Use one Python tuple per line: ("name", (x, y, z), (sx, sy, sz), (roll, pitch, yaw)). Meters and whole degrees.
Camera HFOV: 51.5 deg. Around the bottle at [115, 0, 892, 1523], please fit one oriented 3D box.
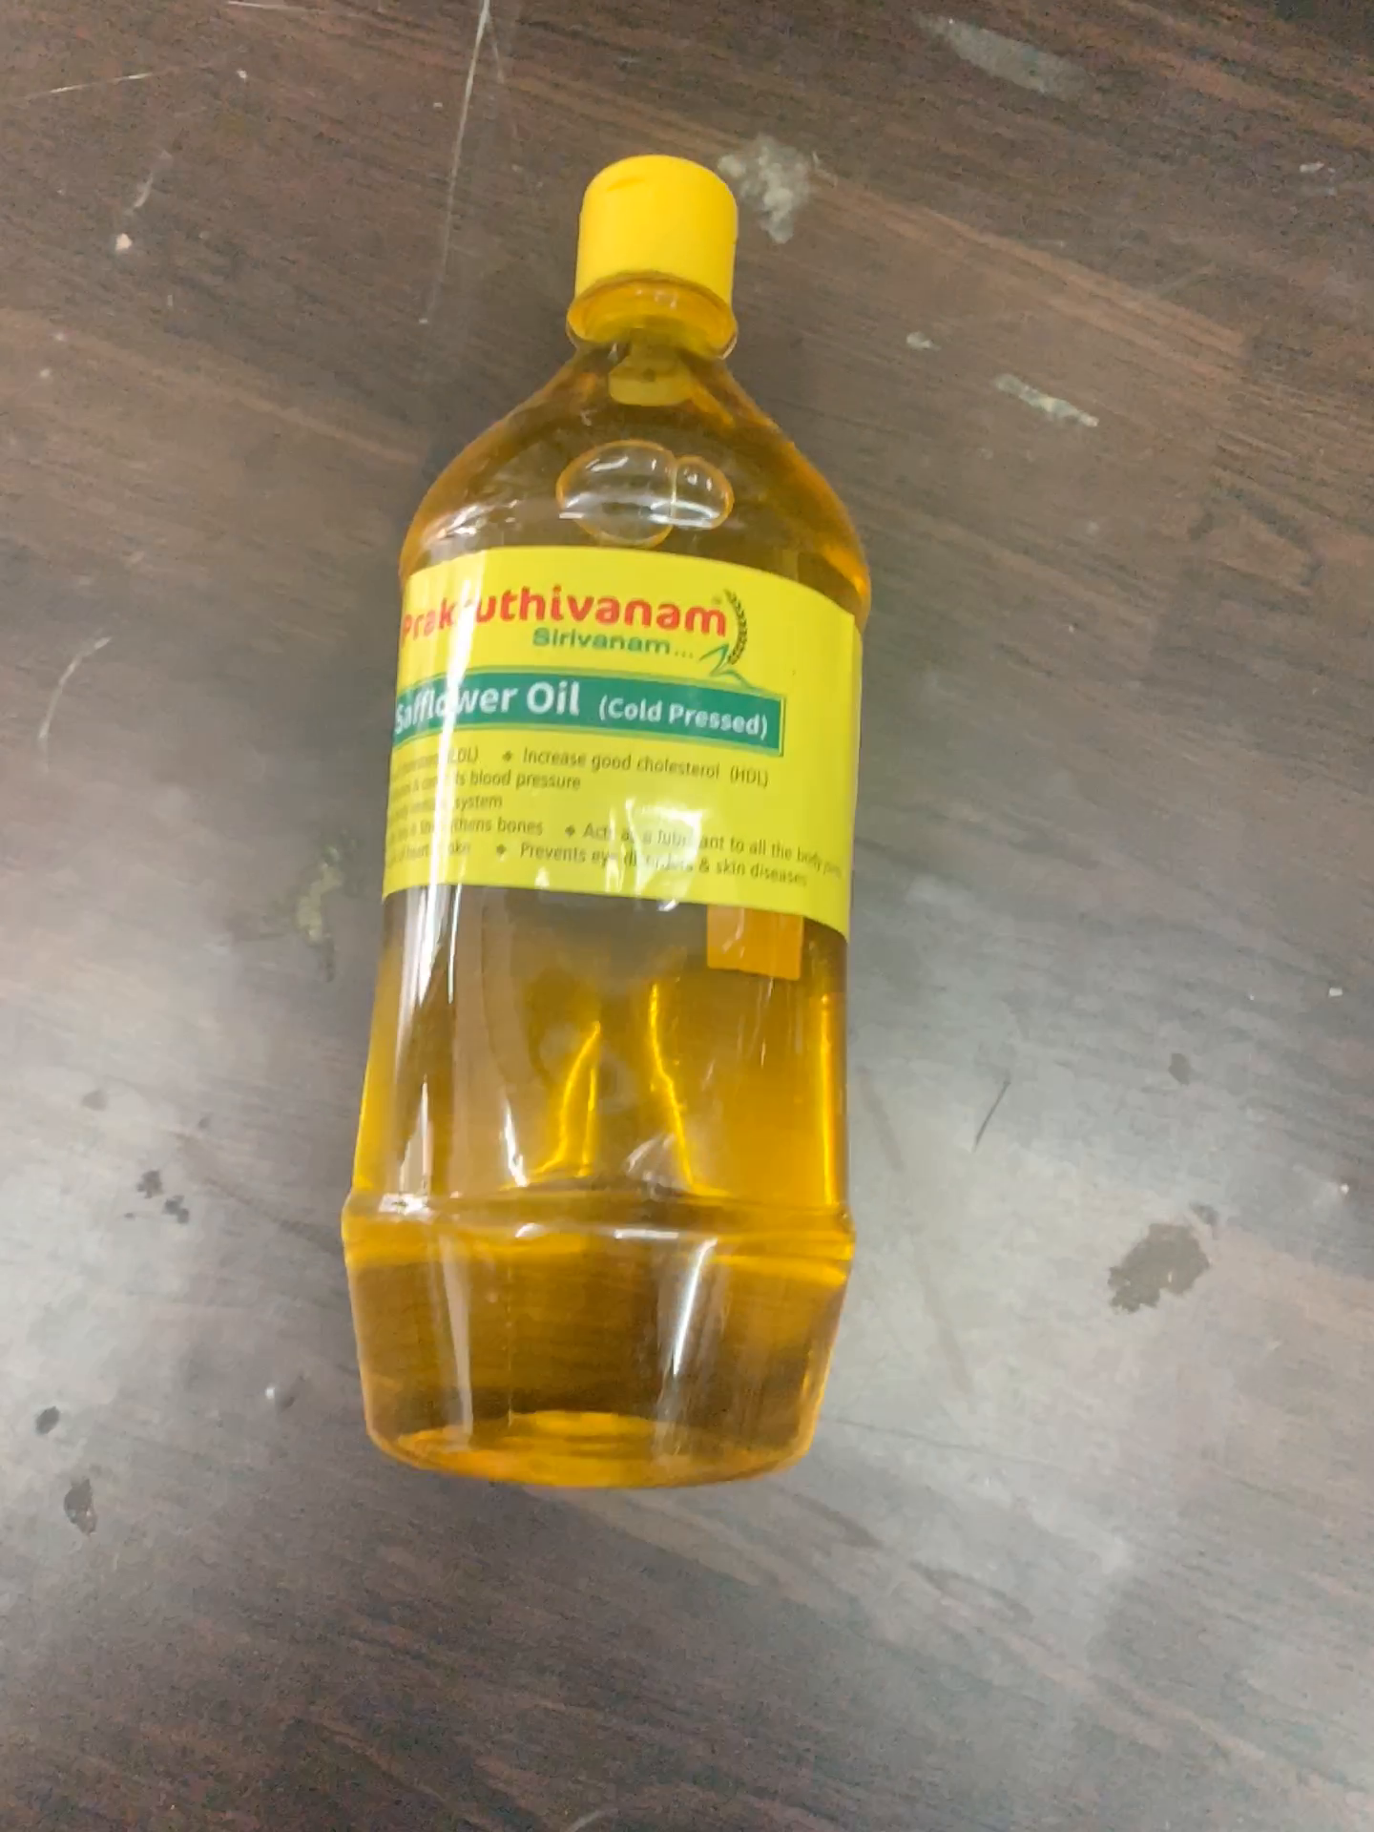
("bottle", (-0.018, -0.033, 0.241), (0.090, 0.080, 0.230), (1, 80, 15))
